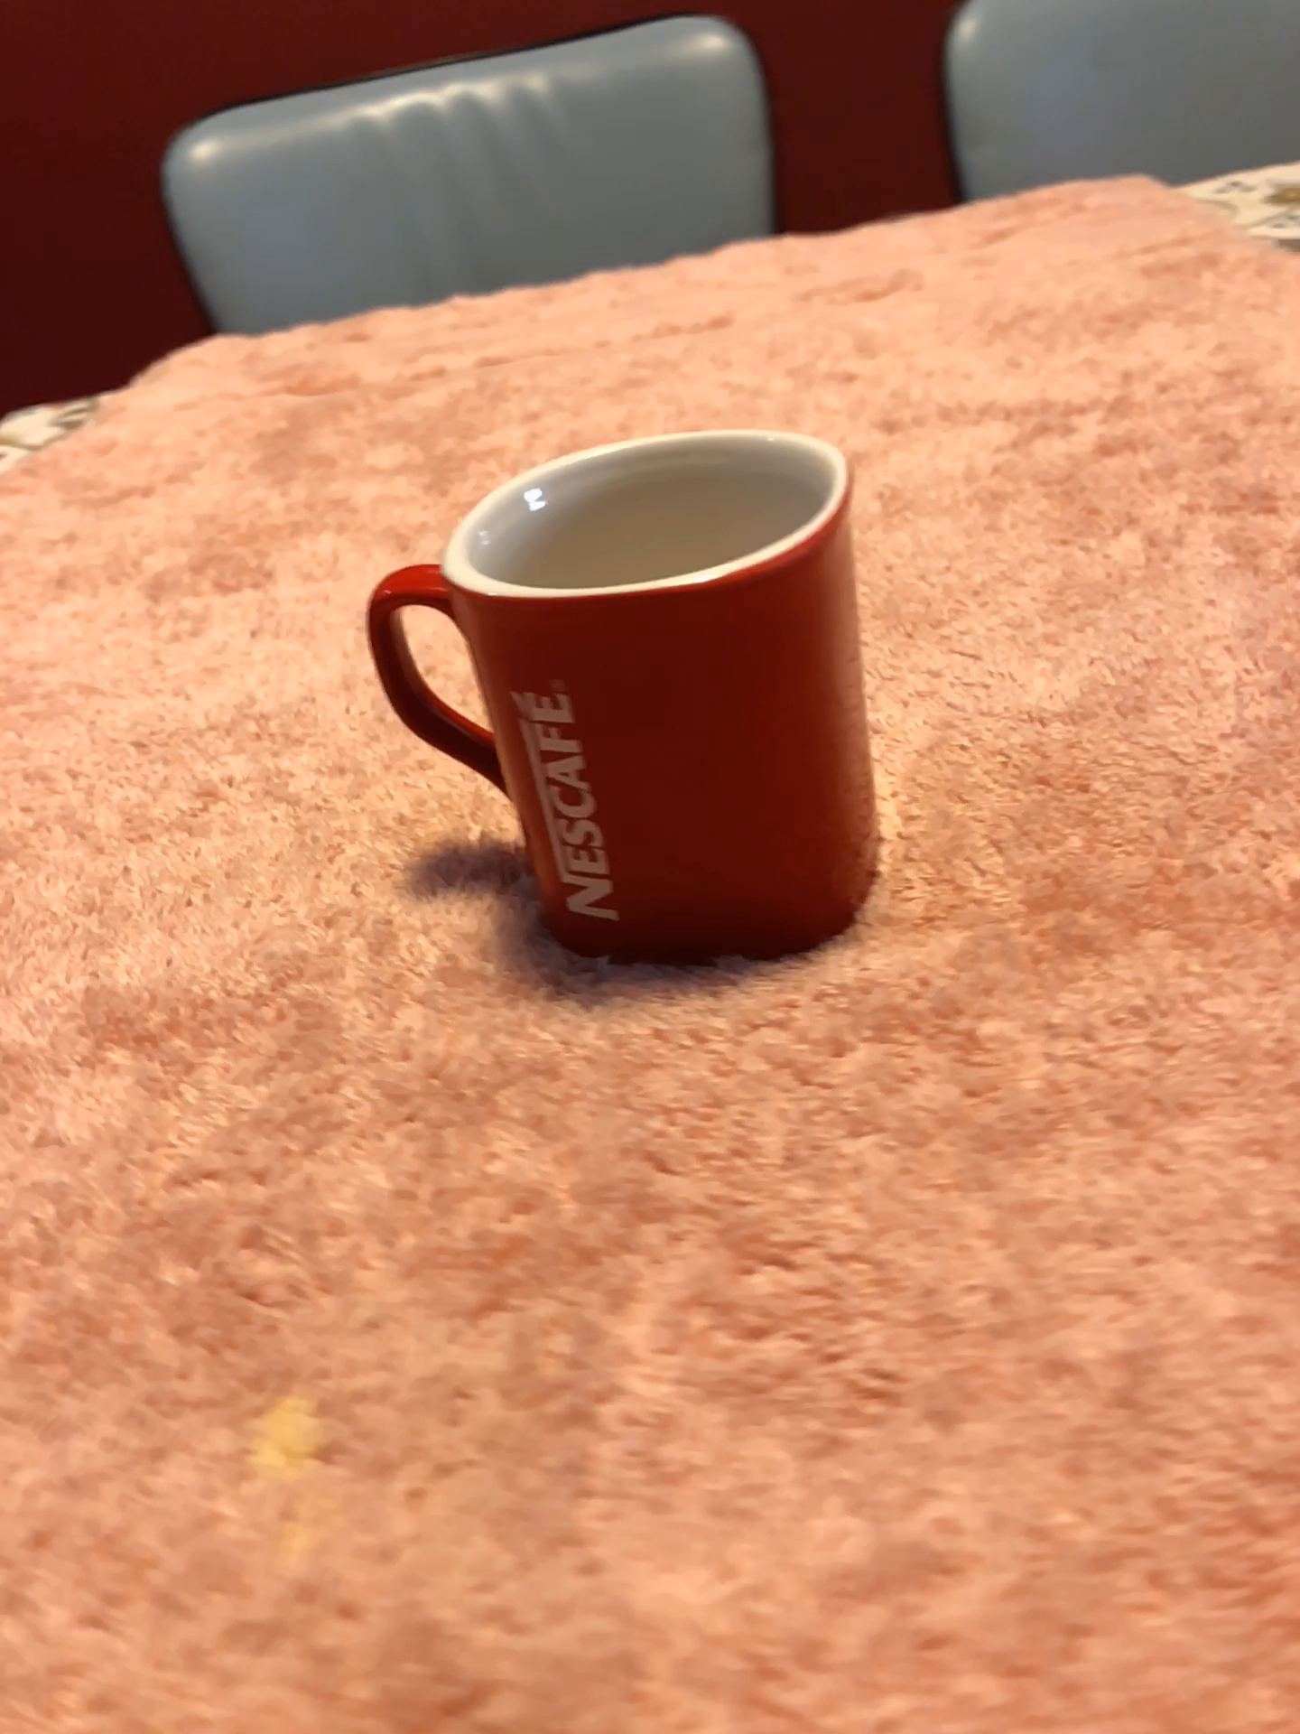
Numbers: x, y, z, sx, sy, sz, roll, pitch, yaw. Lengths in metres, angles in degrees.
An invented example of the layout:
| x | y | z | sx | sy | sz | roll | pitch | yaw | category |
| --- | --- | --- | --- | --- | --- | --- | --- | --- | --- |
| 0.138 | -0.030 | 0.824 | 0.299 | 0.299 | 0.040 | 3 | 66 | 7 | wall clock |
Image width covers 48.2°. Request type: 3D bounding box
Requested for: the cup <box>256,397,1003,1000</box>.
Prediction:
| x | y | z | sx | sy | sz | roll | pitch | yaw | category |
| --- | --- | --- | --- | --- | --- | --- | --- | --- | --- |
| 0.004 | -0.030 | 0.248 | 0.100 | 0.070 | 0.070 | 1 | 36 | 20 | cup |
